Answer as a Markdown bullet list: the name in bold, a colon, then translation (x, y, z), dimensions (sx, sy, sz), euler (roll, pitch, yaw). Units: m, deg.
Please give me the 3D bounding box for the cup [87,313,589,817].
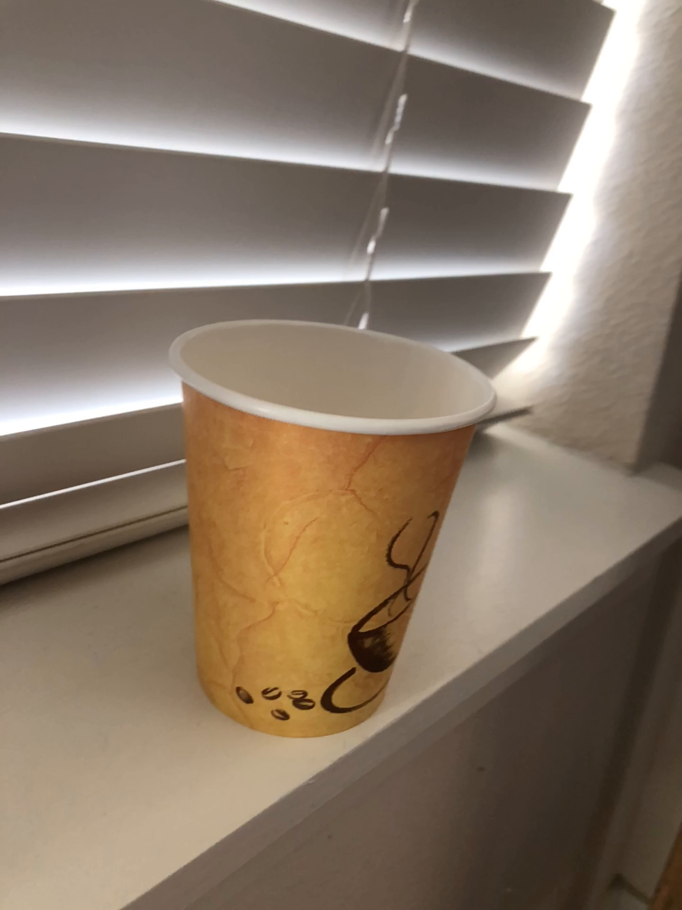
- **cup**: translation (-0.005, 0.016, 0.219), dimensions (0.096, 0.088, 0.093), euler (7, 22, -3)
